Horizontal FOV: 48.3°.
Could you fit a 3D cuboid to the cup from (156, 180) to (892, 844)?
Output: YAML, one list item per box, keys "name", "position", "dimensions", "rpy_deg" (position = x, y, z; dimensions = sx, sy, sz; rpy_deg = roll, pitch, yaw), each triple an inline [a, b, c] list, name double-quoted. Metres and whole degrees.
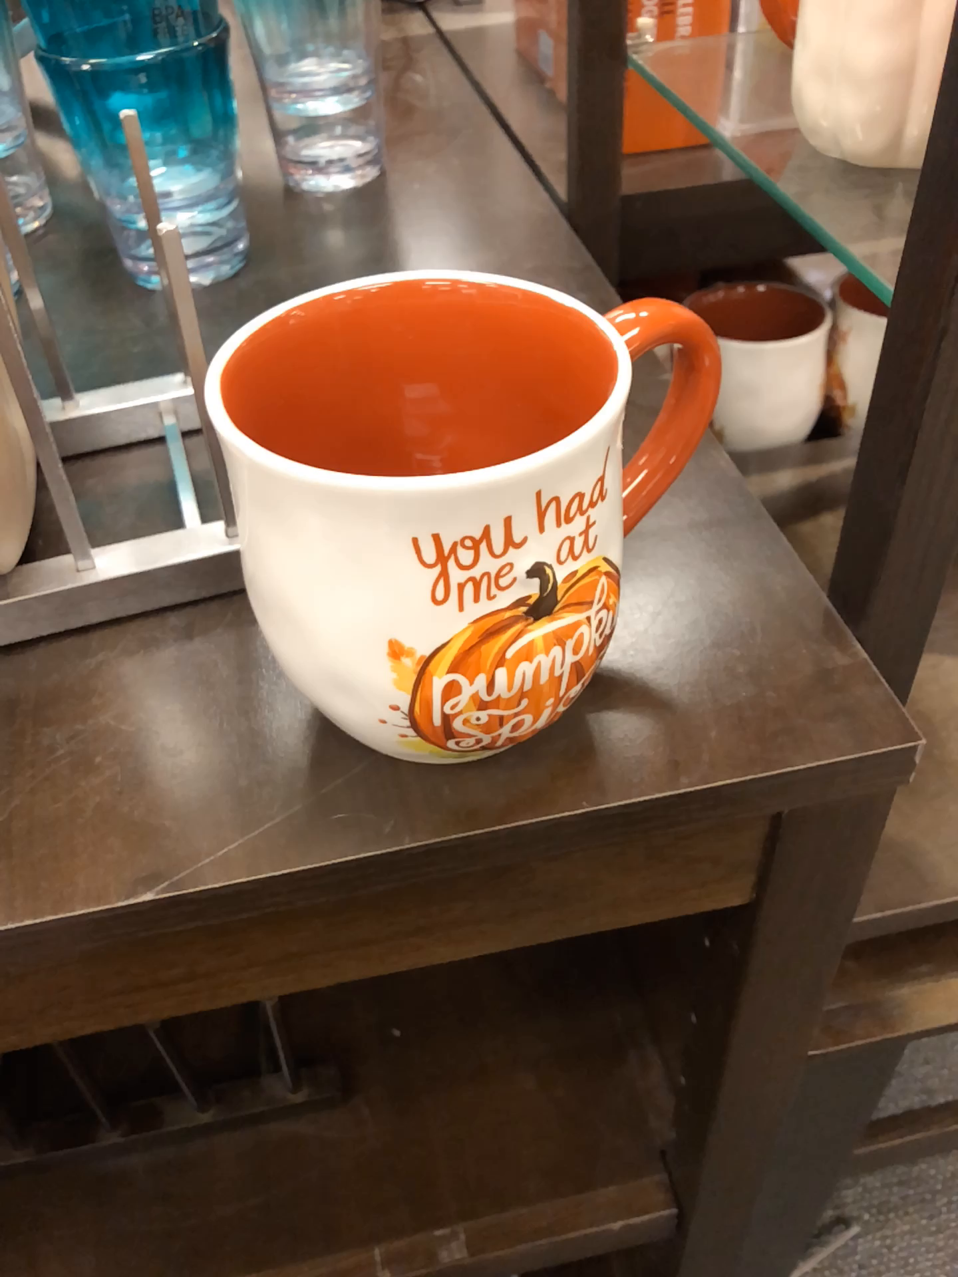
- name: "cup"
  position: [0.012, -0.042, 0.288]
  dimensions: [0.143, 0.094, 0.102]
  rpy_deg: [-28, 48, -22]
